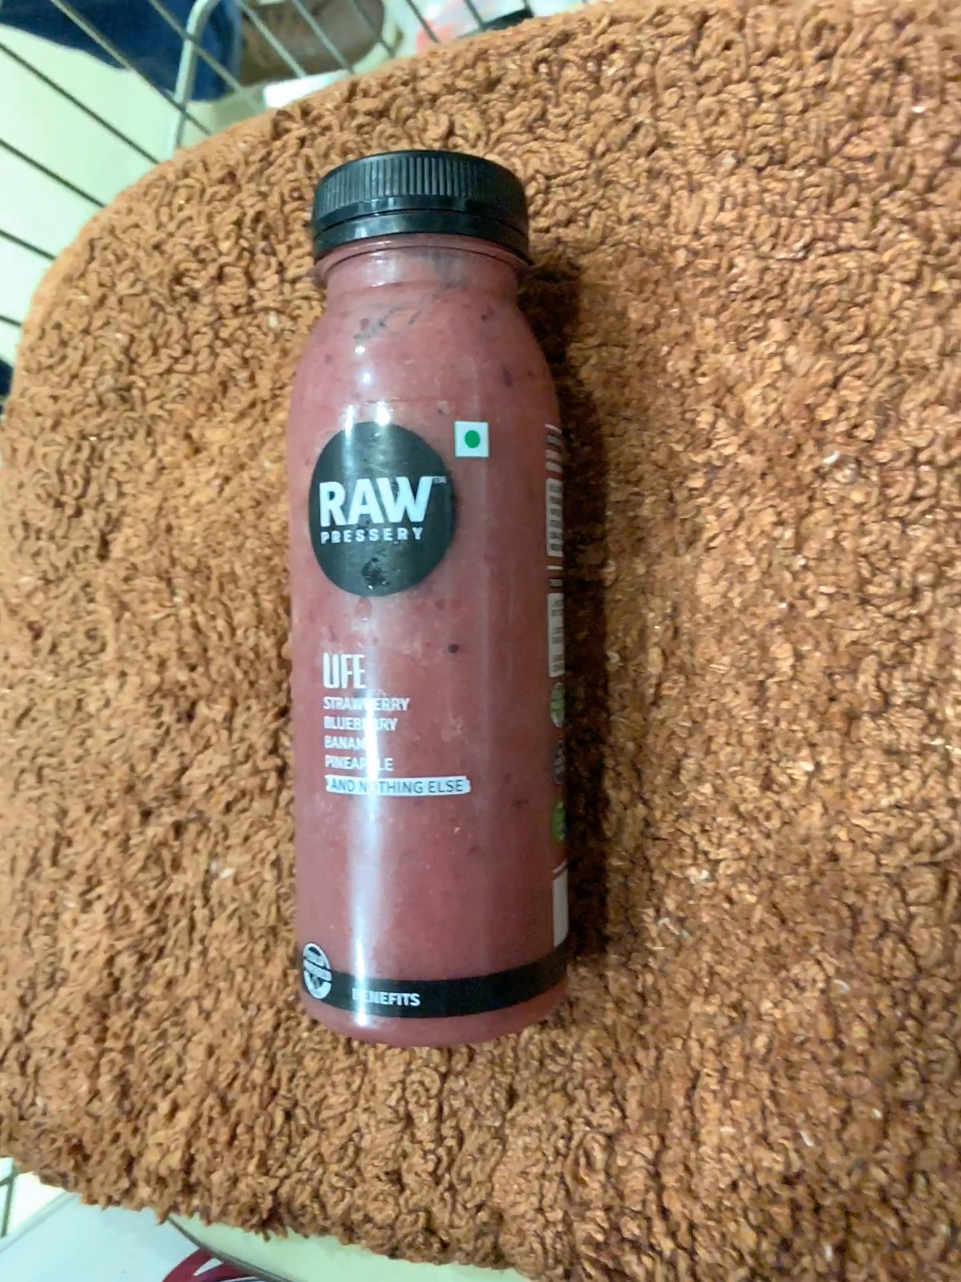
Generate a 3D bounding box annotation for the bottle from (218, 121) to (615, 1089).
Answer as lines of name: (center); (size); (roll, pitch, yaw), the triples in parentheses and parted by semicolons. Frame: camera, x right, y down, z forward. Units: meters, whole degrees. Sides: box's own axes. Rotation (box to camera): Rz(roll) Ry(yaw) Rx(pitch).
bottle: (-0.009, -0.005, 0.188); (0.060, 0.050, 0.150); (0, 90, 18)
